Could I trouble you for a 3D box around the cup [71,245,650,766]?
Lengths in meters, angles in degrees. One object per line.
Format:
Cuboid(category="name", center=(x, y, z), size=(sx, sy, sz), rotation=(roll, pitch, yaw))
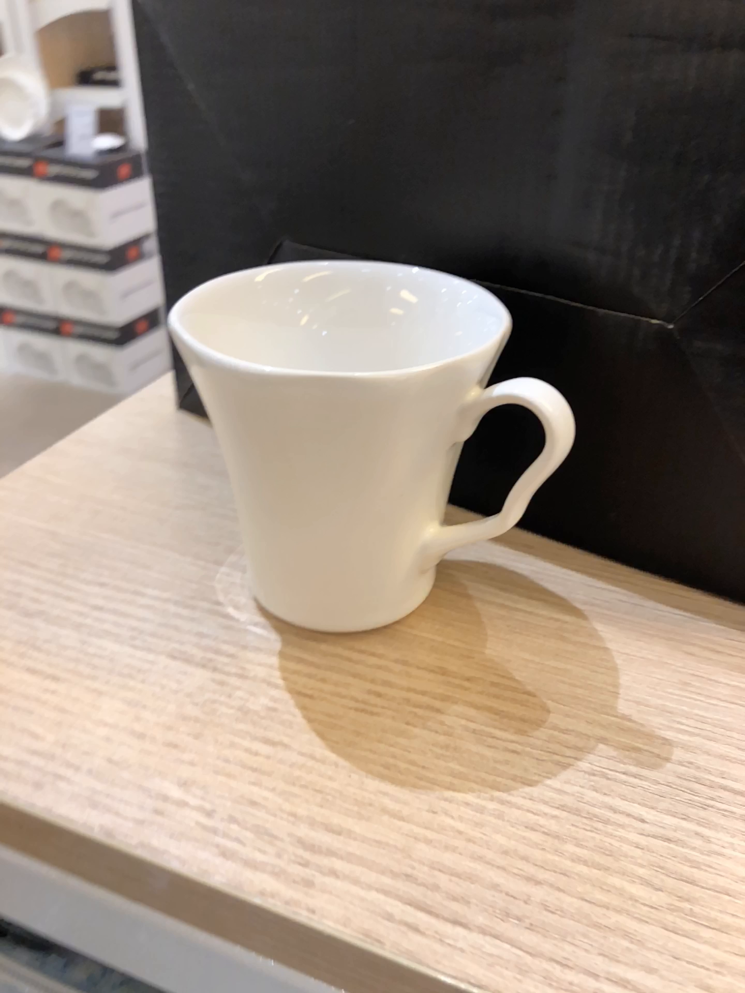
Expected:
Cuboid(category="cup", center=(-0.001, -0.008, 0.216), size=(0.110, 0.079, 0.081), rotation=(17, 35, 25))
